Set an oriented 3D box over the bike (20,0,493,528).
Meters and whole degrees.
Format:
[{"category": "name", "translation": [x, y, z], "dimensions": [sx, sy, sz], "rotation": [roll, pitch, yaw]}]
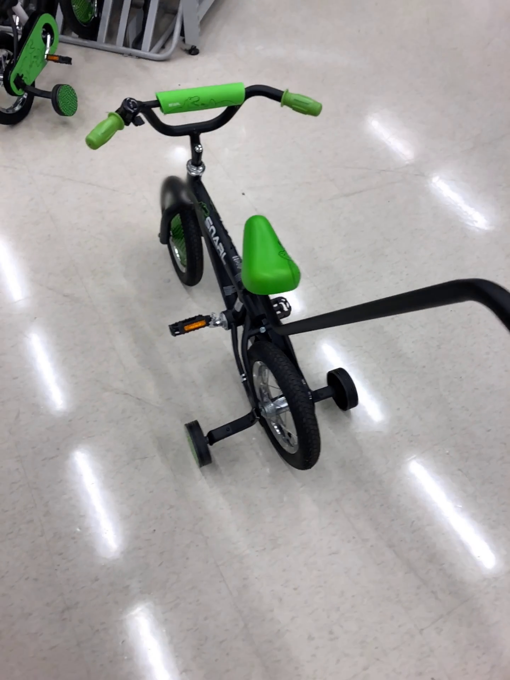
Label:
[{"category": "bike", "translation": [-0.056, -0.195, 1.193], "dimensions": [0.491, 0.600, 0.849], "rotation": [-20, 61, -15]}]
